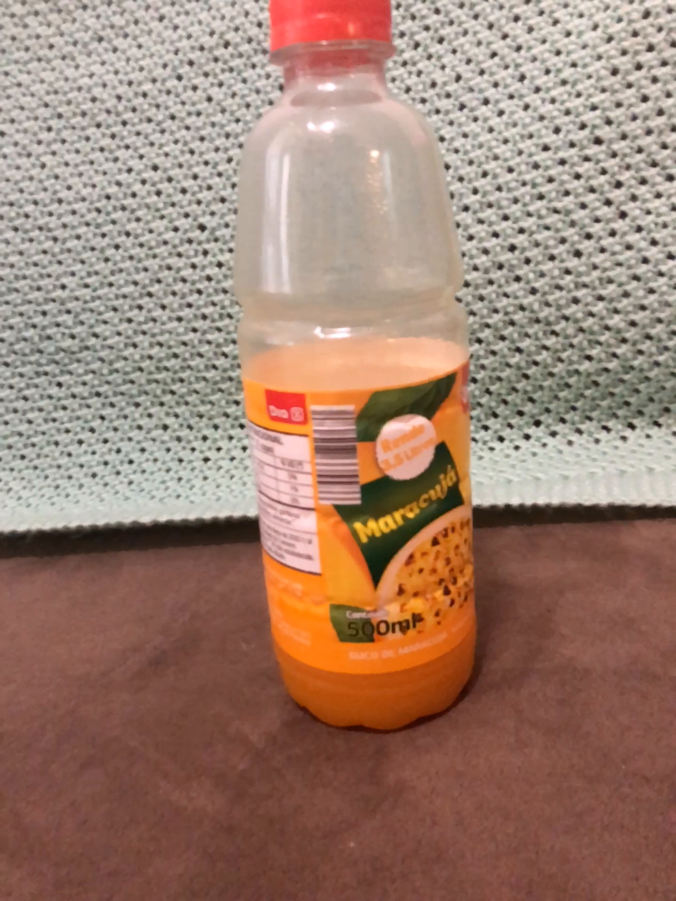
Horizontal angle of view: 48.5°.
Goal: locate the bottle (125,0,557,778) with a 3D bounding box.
[{"bbox_3d":[0.004,-0.027,0.216,0.080,0.199,0.080,-5,17,2],"label":"bottle"}]
